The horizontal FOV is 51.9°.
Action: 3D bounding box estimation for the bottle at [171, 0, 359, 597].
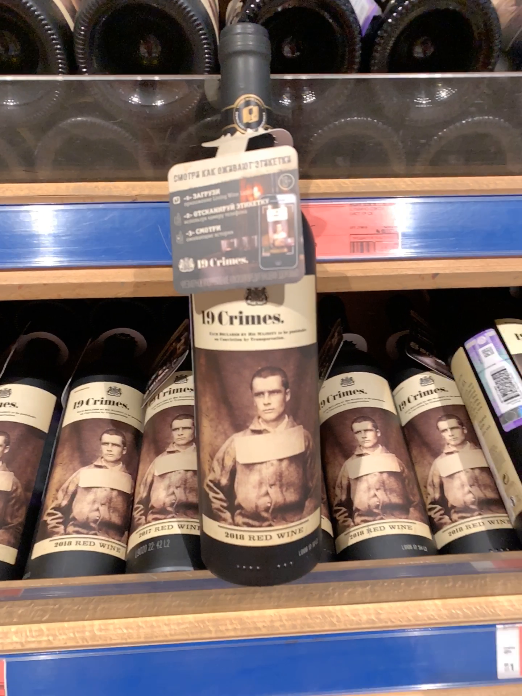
[{"bbox_3d":[-0.001,-0.022,0.309,0.086,0.300,0.082,0,9,0],"label":"bottle"}]
